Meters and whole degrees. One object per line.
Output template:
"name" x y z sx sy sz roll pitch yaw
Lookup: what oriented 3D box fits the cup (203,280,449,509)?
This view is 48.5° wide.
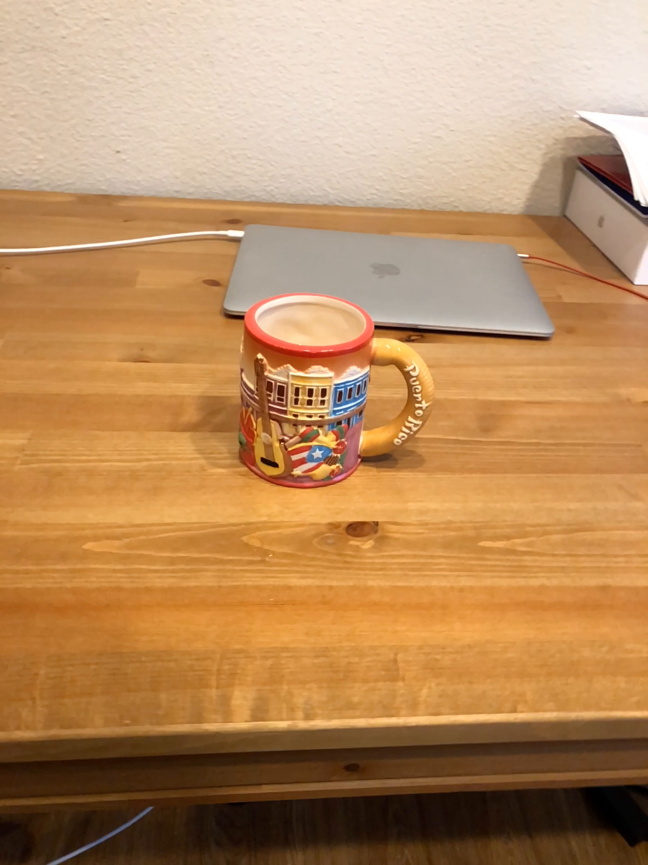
"cup" 0.003 -0.027 0.448 0.130 0.090 0.090 9 35 7
